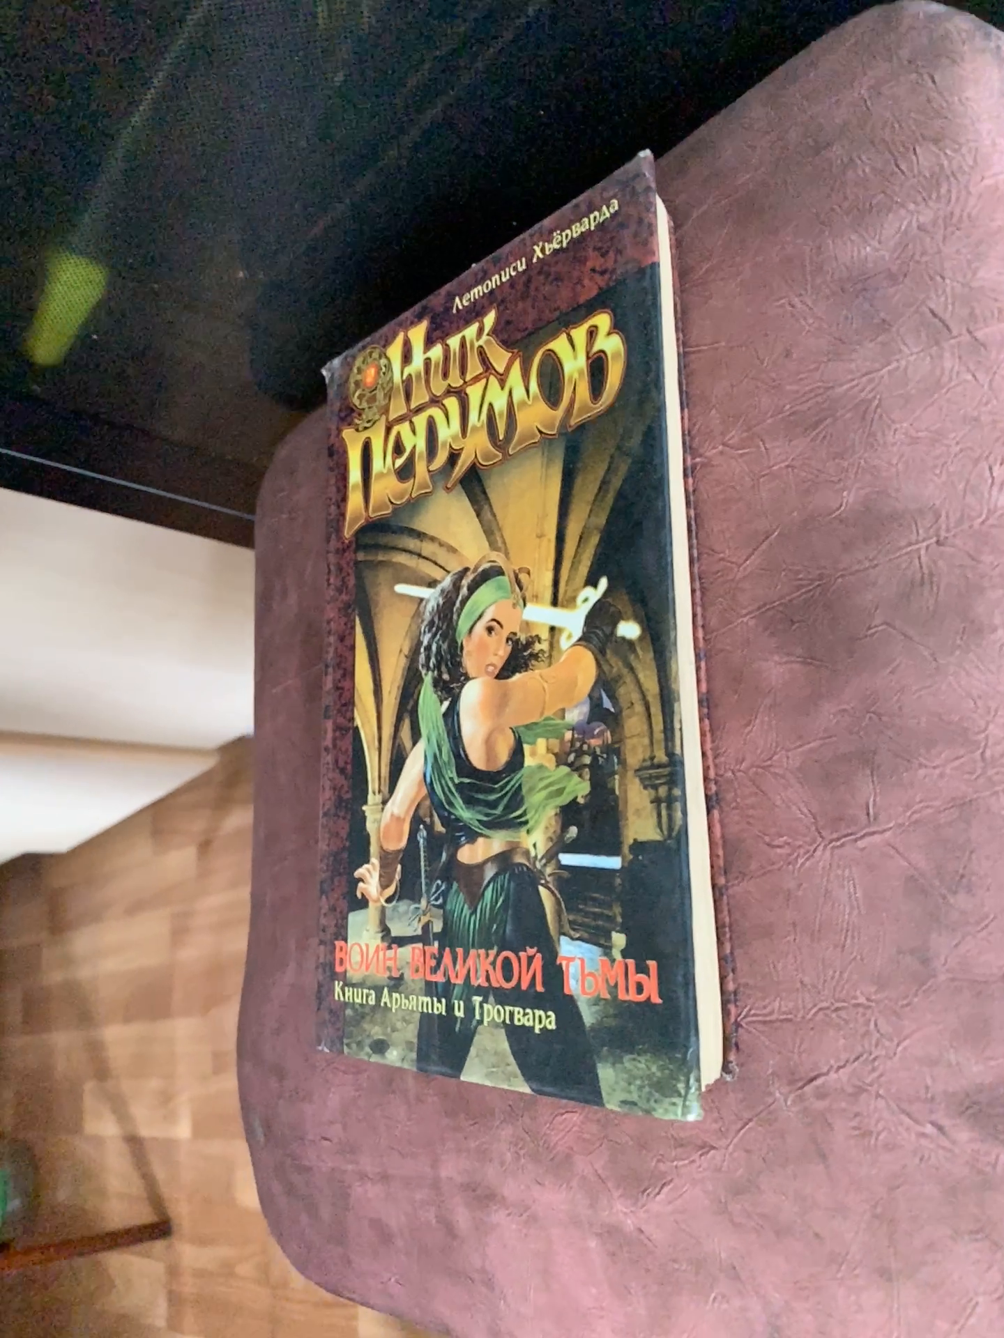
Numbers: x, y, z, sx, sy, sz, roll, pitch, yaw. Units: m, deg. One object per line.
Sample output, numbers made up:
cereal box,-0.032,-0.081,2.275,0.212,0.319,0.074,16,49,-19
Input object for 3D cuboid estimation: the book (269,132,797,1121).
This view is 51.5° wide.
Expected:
book,-0.004,-0.005,0.271,0.140,0.037,0.205,-14,72,45
